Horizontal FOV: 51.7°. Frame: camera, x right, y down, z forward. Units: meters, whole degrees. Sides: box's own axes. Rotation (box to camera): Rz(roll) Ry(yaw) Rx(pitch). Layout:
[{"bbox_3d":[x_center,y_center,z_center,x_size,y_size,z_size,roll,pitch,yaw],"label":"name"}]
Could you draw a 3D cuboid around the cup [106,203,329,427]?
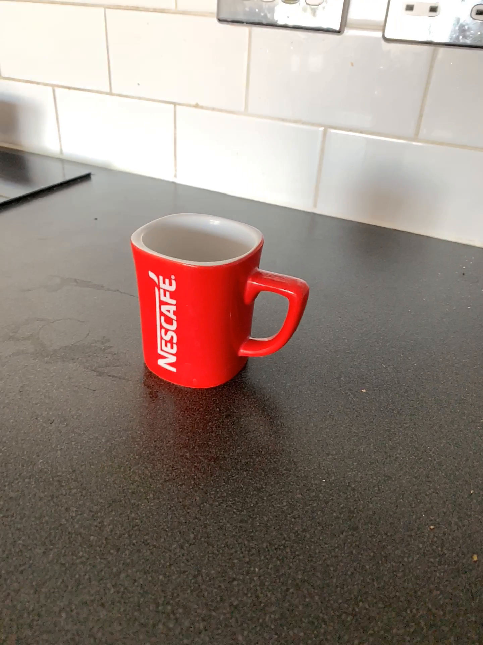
[{"bbox_3d":[-0.016,-0.010,0.314,0.112,0.091,0.067,19,34,23],"label":"cup"}]
